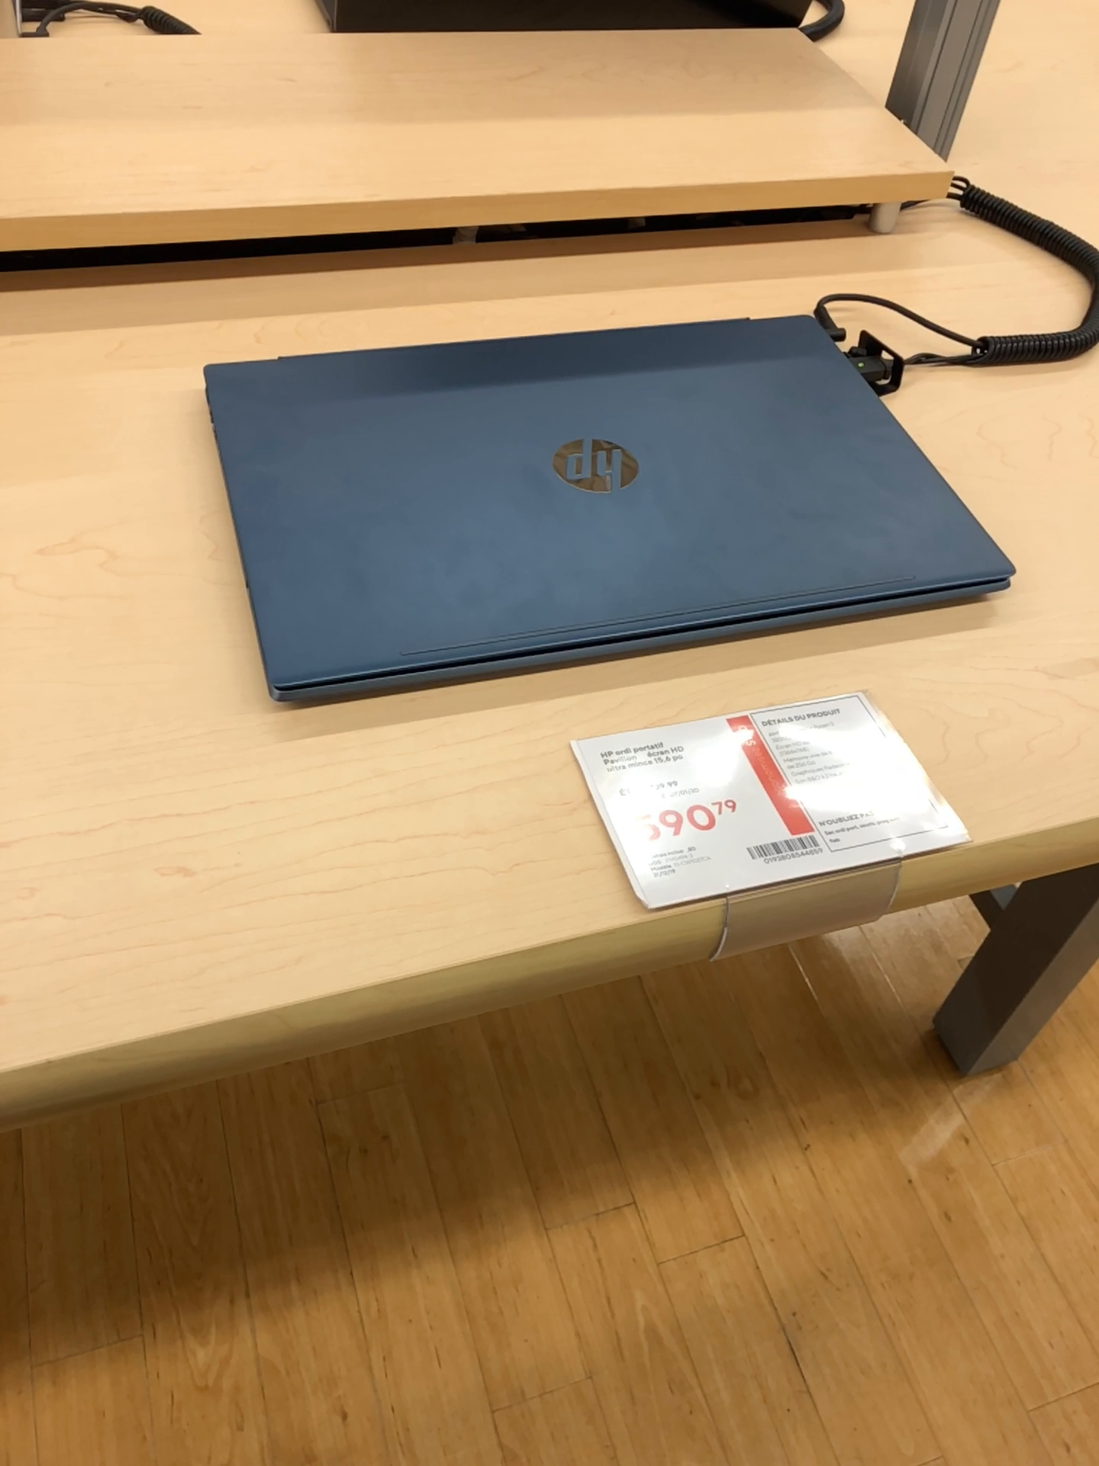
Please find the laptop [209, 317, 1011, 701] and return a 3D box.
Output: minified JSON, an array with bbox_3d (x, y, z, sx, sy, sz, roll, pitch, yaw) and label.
[{"bbox_3d":[0.023,-0.130,0.618,0.353,0.012,0.220,-10,54,-14],"label":"laptop"}]
